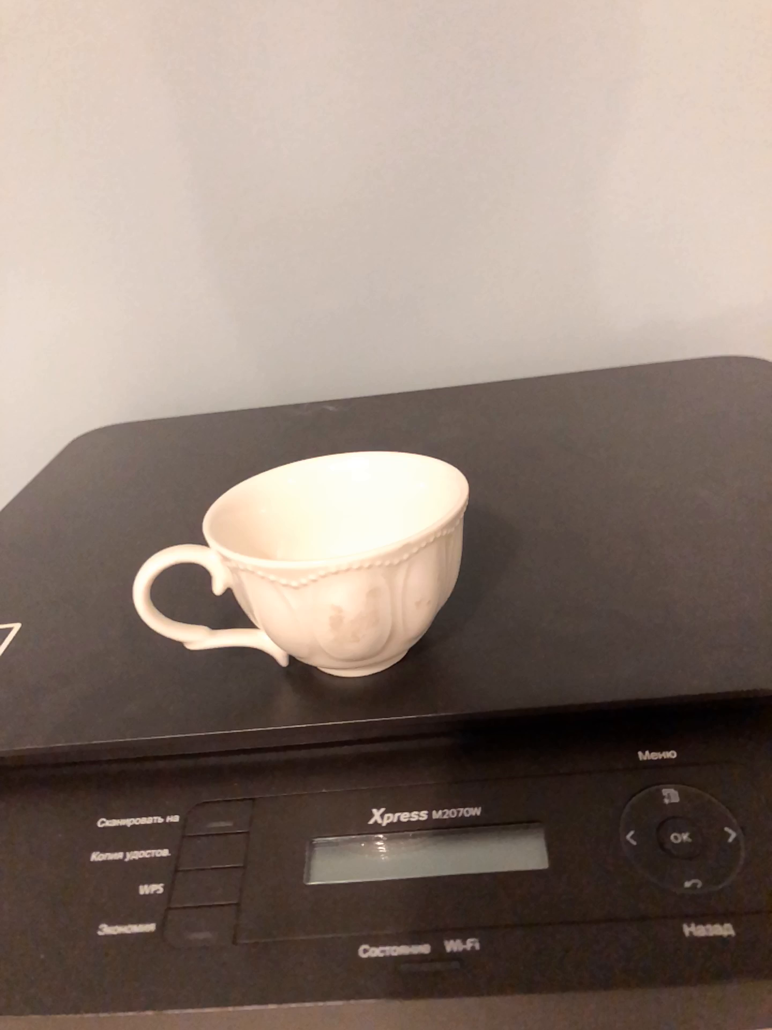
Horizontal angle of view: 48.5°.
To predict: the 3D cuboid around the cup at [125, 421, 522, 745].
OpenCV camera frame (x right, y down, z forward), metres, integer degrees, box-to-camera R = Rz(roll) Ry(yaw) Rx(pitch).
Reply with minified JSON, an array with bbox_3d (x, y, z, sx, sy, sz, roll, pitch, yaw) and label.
[{"bbox_3d":[-0.021,0.013,0.247,0.094,0.044,0.076,-12,25,-15],"label":"cup"}]
